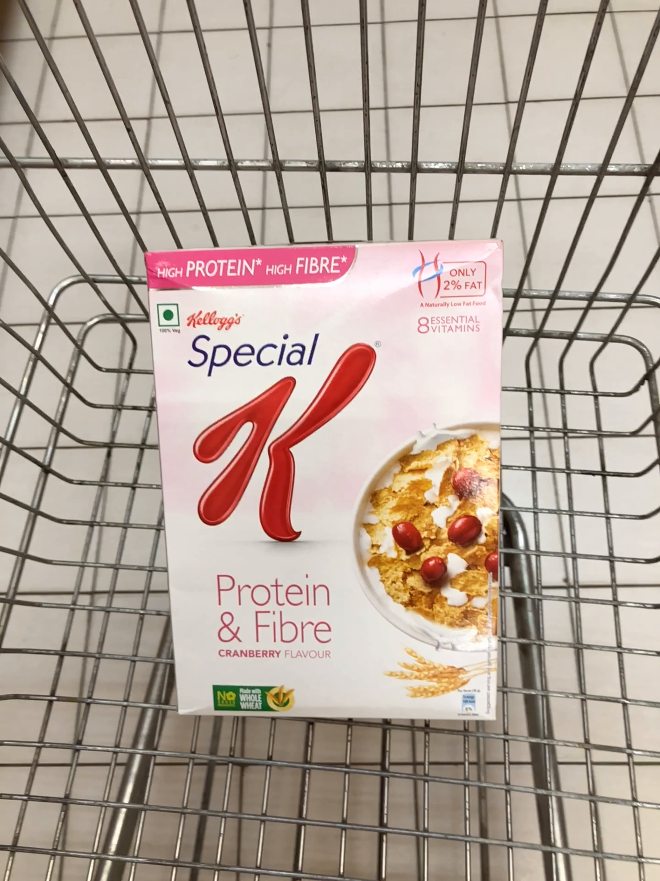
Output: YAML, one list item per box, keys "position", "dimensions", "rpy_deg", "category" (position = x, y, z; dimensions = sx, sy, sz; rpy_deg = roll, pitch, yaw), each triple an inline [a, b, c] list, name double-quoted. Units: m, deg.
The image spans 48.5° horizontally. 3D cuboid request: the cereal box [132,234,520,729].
- position: [0.002, 0.020, 0.438]
  dimensions: [0.190, 0.100, 0.270]
  rpy_deg: [0, 103, 3]
  category: "cereal box"
